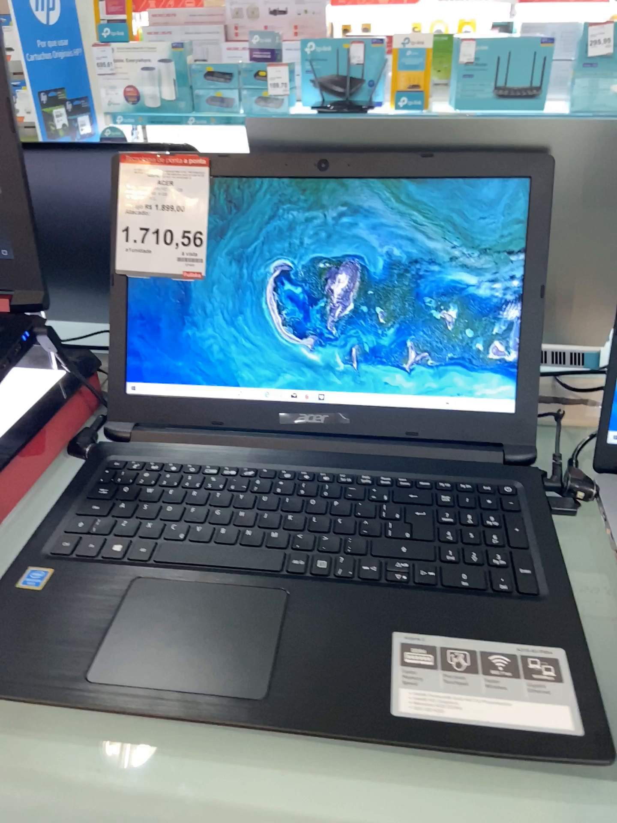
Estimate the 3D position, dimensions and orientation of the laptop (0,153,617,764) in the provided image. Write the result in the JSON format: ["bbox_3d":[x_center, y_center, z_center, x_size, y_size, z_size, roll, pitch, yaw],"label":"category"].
[{"bbox_3d":[-0.012,-0.029,0.444,0.376,0.216,0.382,3,33,7],"label":"laptop"}]
